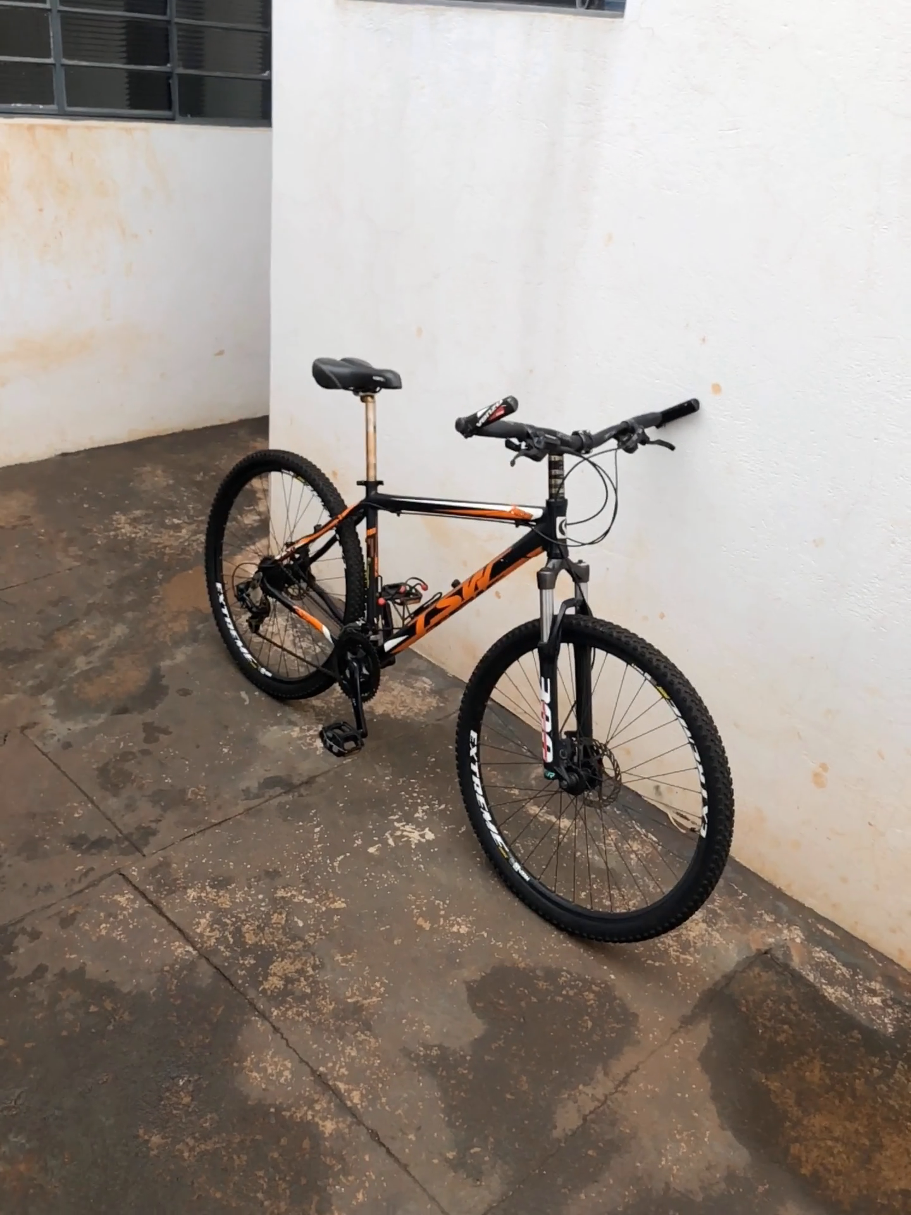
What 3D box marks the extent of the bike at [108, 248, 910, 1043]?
[{"bbox_3d":[-0.024,-0.113,2.384,0.724,1.084,1.767,-21,38,-41],"label":"bike"}]
